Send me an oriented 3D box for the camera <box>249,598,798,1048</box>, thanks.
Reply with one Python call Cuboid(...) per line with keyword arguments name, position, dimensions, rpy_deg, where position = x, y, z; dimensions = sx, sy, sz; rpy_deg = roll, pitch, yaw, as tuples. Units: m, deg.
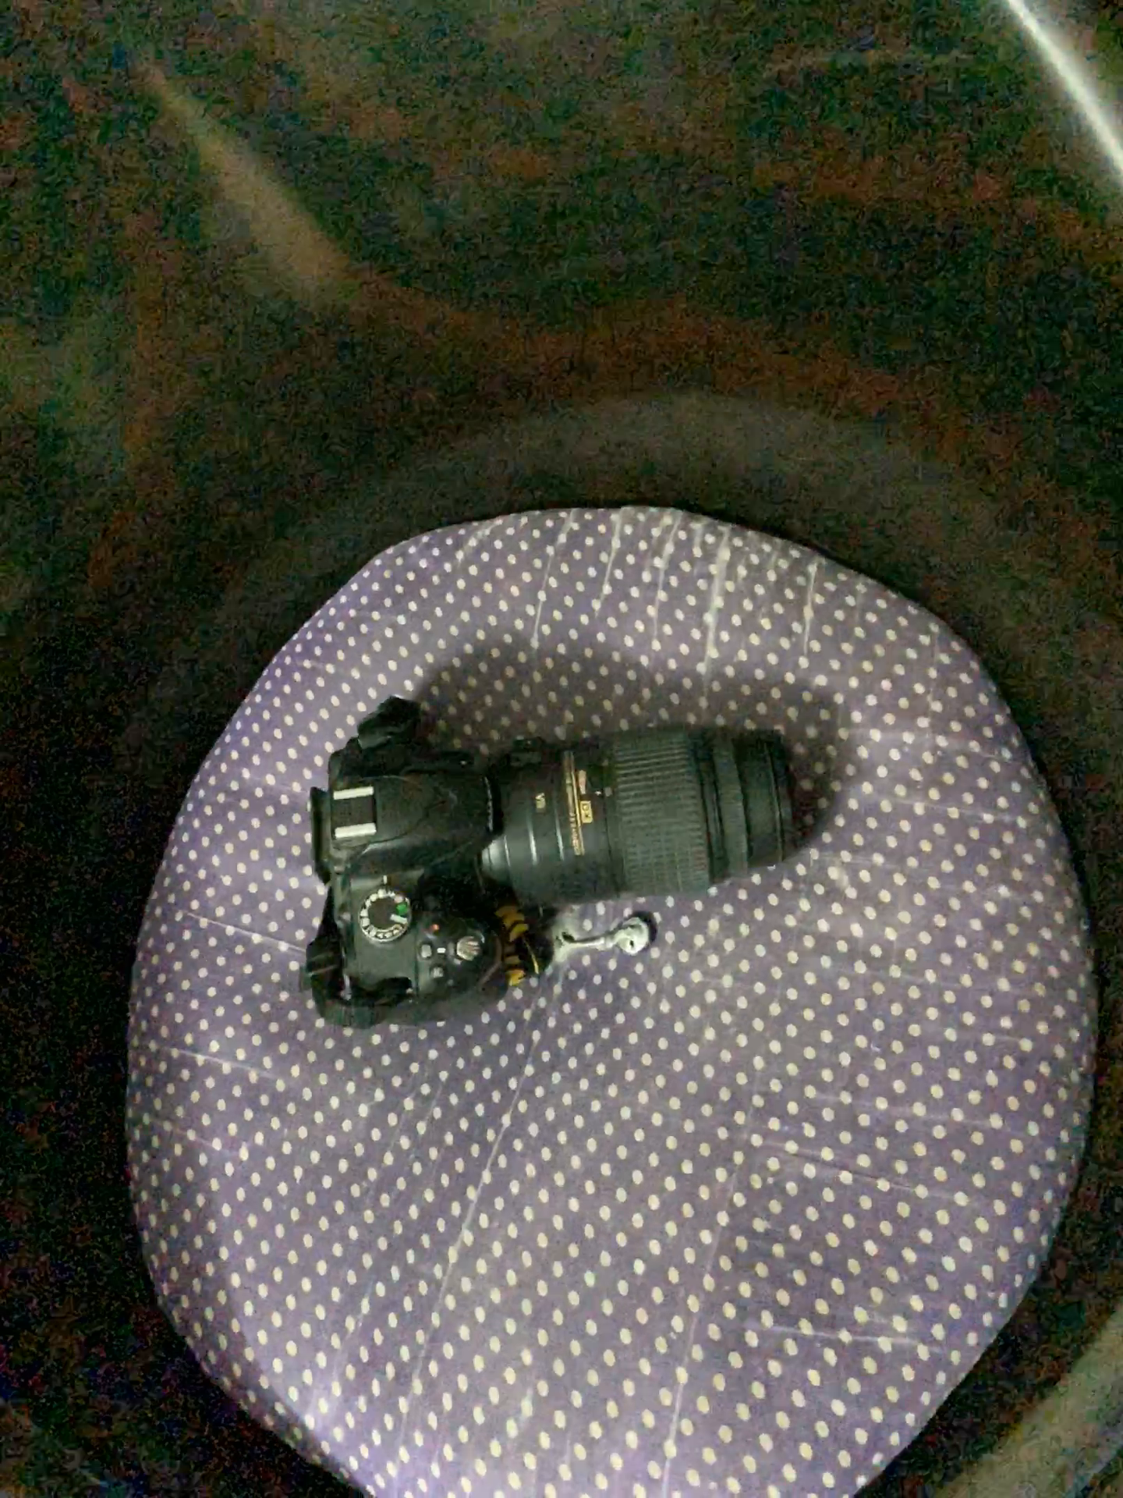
Cuboid(name="camera", position=(-0.017, 0.037, 0.490), dimensions=(0.200, 0.100, 0.140), rpy_deg=(-9, 68, 4))
